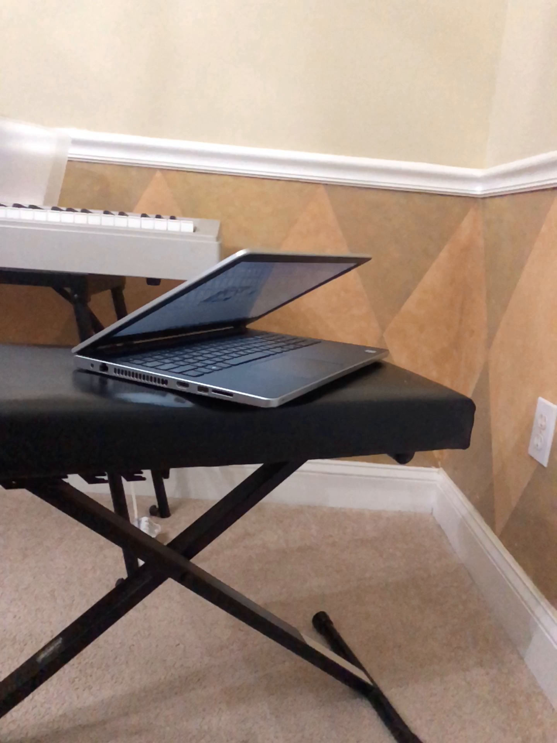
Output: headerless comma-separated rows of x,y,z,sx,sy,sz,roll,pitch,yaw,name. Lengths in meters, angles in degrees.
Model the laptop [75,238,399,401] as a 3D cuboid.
-0.030,-0.091,0.815,0.261,0.137,0.376,11,14,25,laptop
